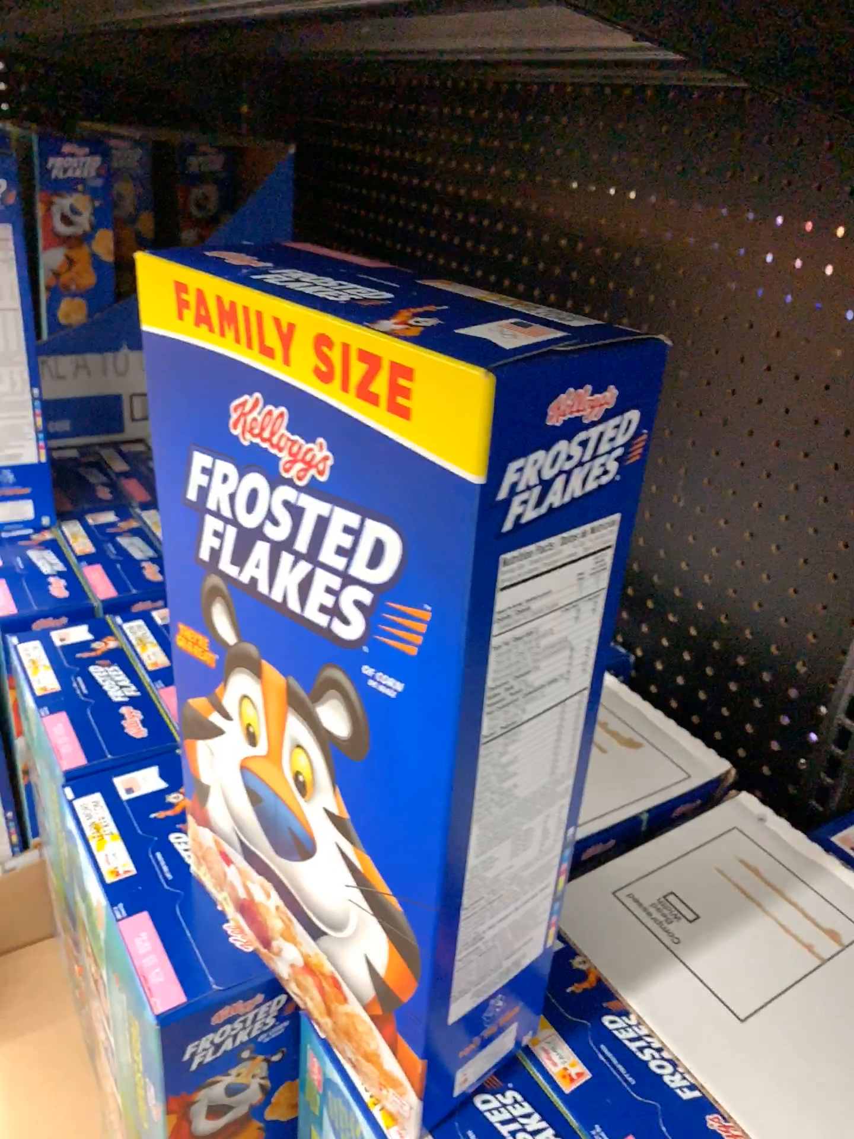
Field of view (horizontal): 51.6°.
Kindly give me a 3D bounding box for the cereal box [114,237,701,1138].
[{"bbox_3d":[-0.032,0.049,0.365,0.080,0.318,0.211,-18,35,-36],"label":"cereal box"}]
